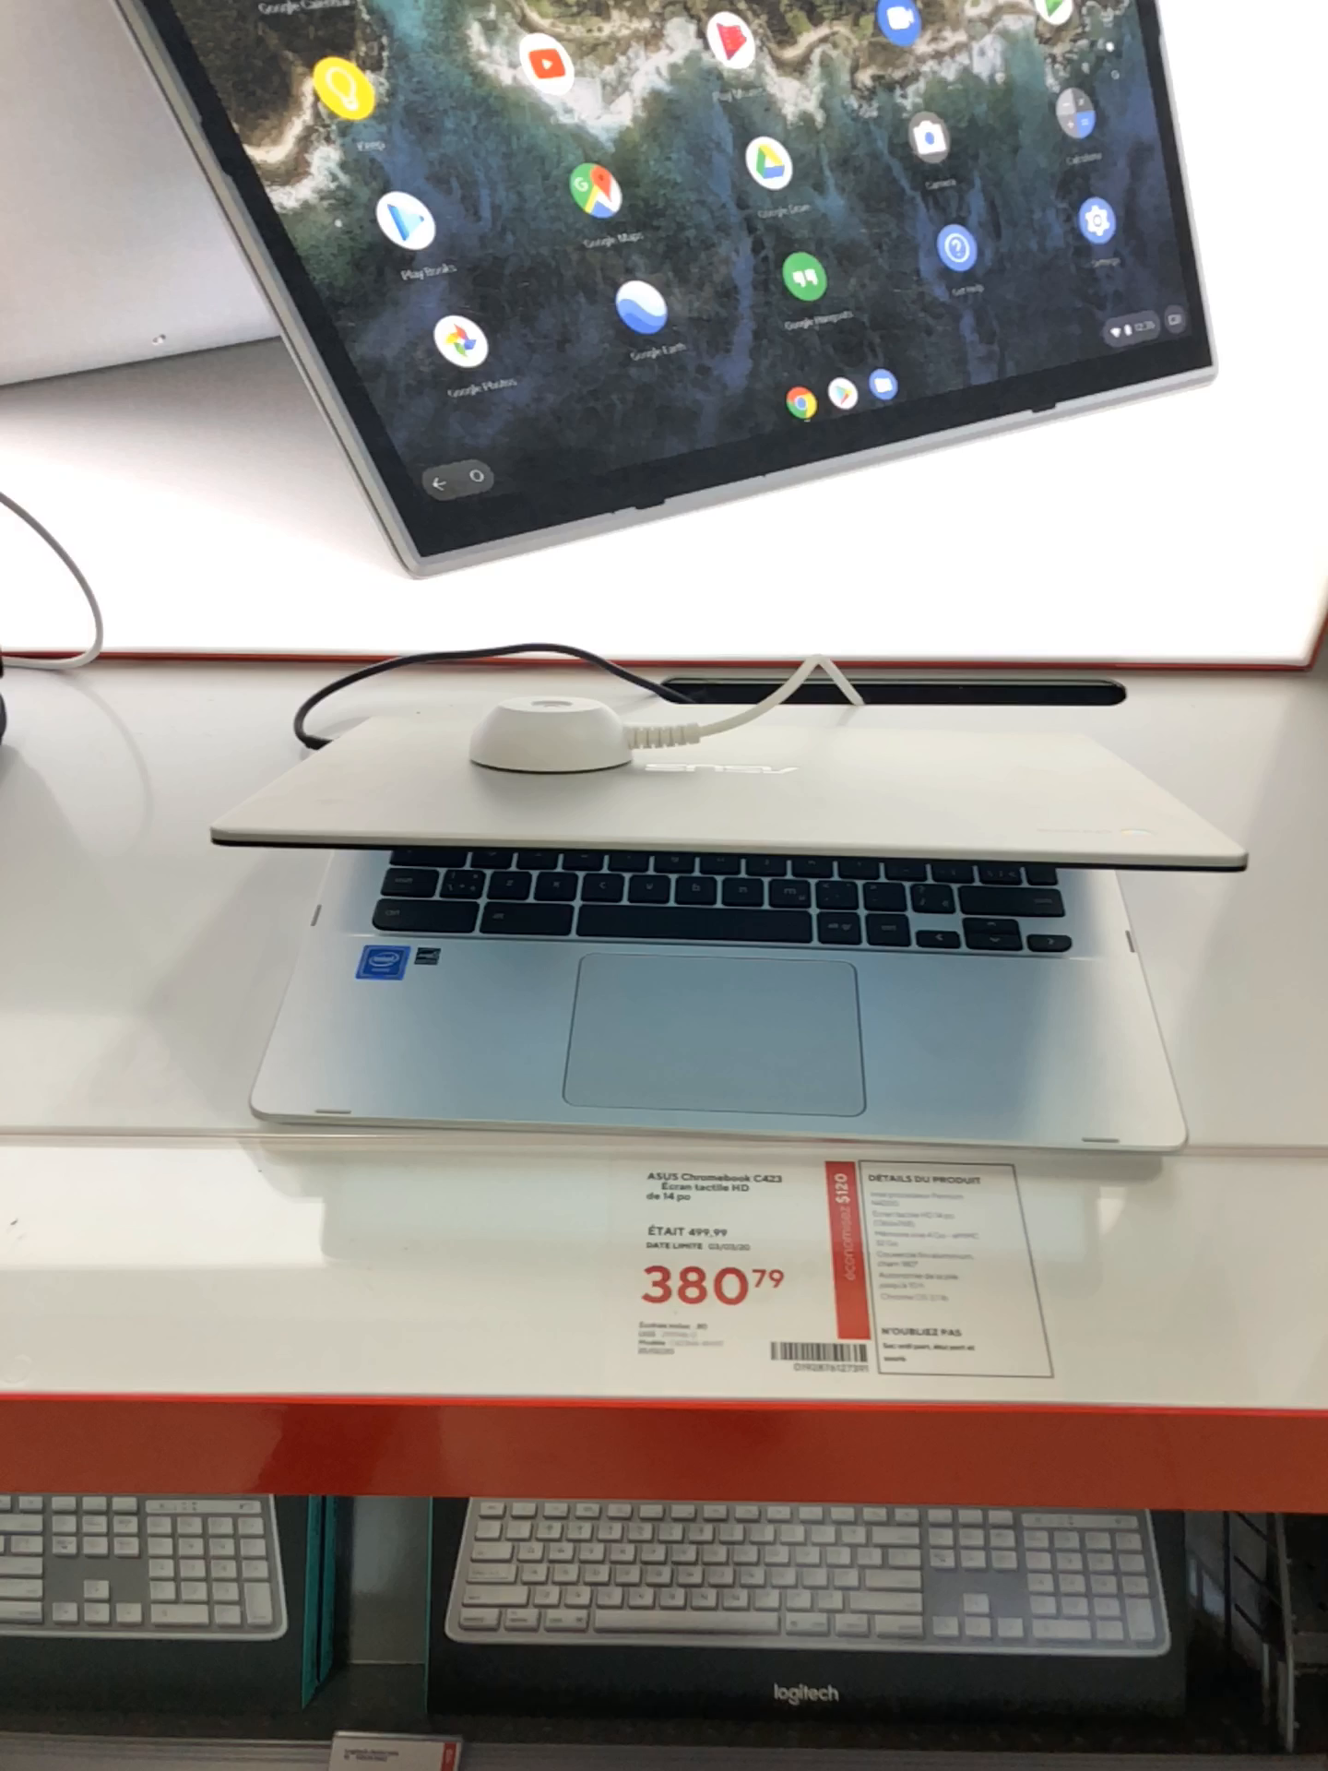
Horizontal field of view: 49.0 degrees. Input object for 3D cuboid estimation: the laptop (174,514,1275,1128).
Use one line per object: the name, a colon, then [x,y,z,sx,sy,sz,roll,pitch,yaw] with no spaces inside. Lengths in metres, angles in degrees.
laptop: [0.021,-0.036,0.539,0.317,0.100,0.226,2,41,2]
